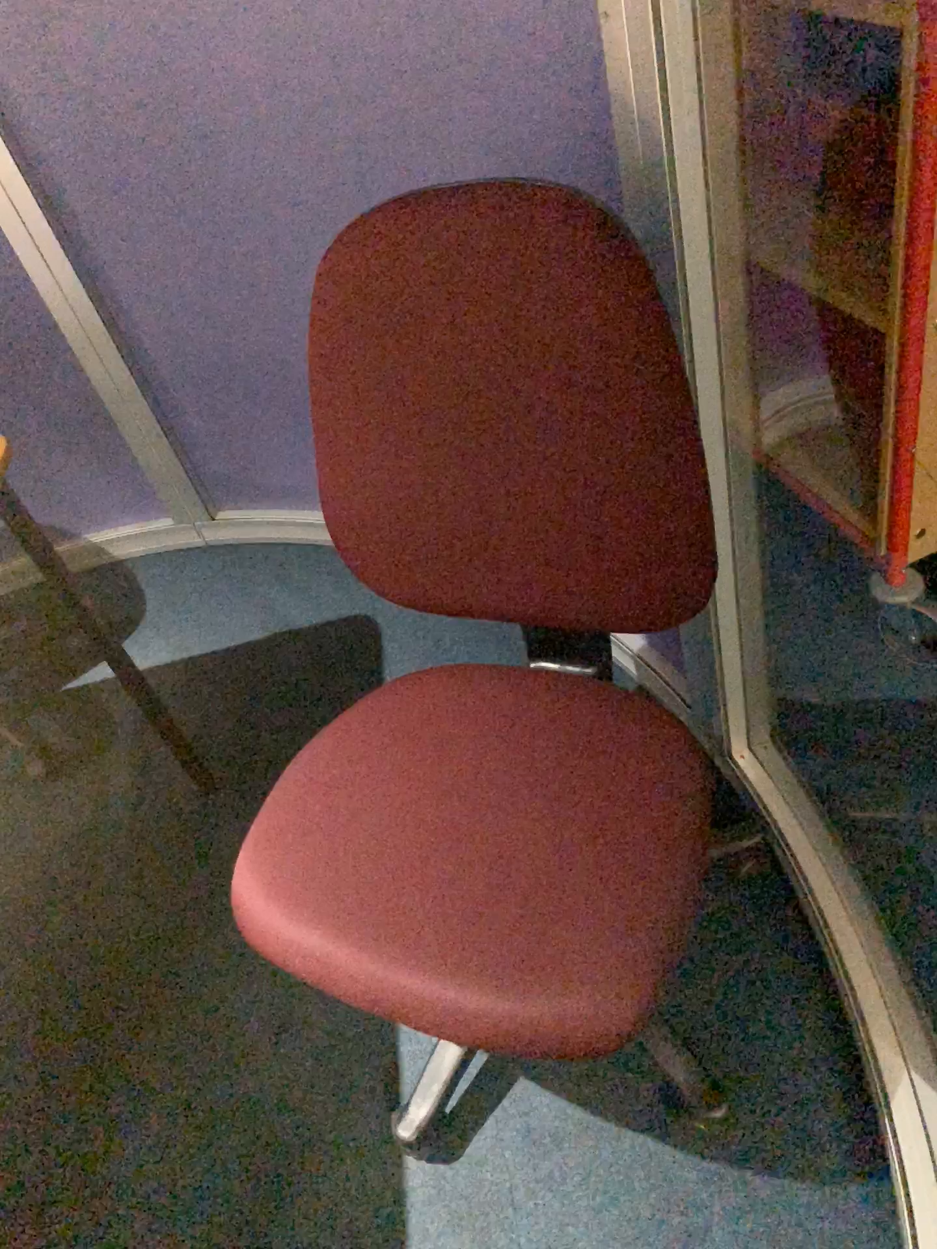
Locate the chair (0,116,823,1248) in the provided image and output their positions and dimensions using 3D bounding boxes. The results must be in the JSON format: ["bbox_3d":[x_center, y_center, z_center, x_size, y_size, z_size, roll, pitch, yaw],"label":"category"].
[{"bbox_3d":[0.035,0.040,1.066,0.581,0.772,0.856,5,47,25],"label":"chair"}]
